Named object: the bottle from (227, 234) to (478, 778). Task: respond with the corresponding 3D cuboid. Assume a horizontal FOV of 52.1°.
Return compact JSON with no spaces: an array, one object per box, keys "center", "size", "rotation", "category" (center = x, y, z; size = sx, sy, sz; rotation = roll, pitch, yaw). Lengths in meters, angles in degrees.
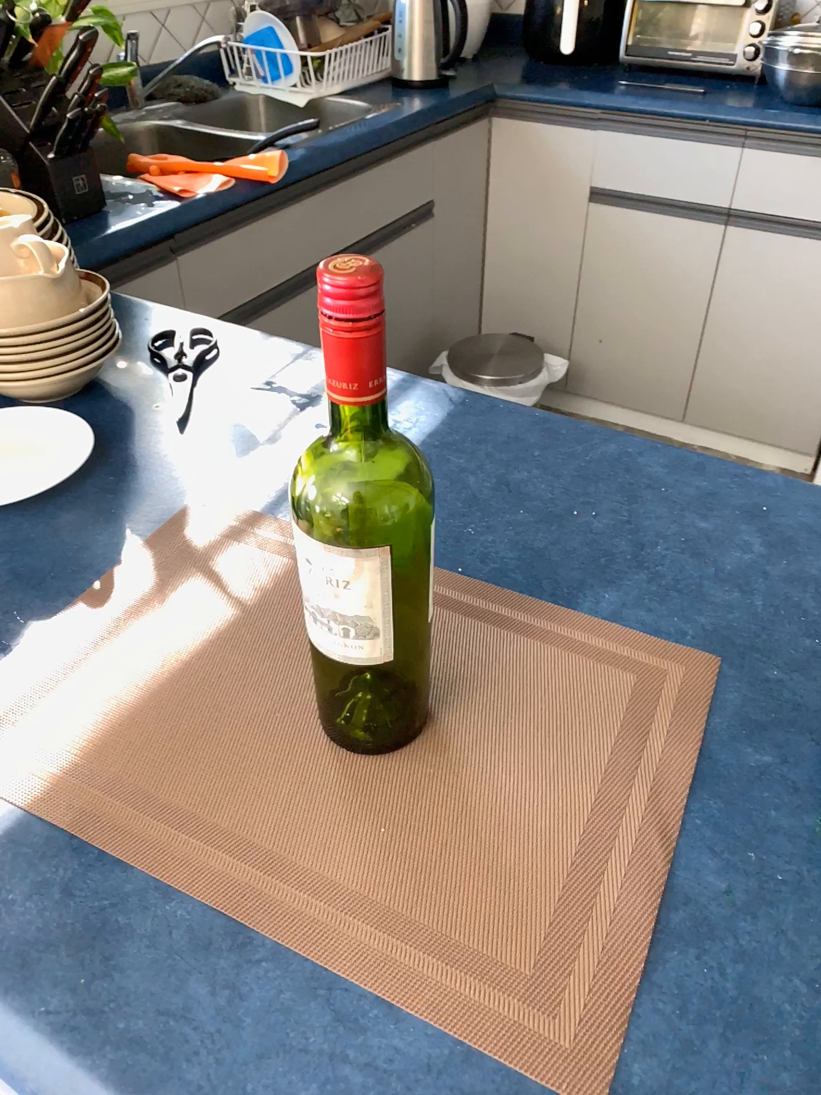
[{"center":[-0.026,-0.009,0.451],"size":[0.080,0.277,0.081],"rotation":[0,38,0],"category":"bottle"}]
